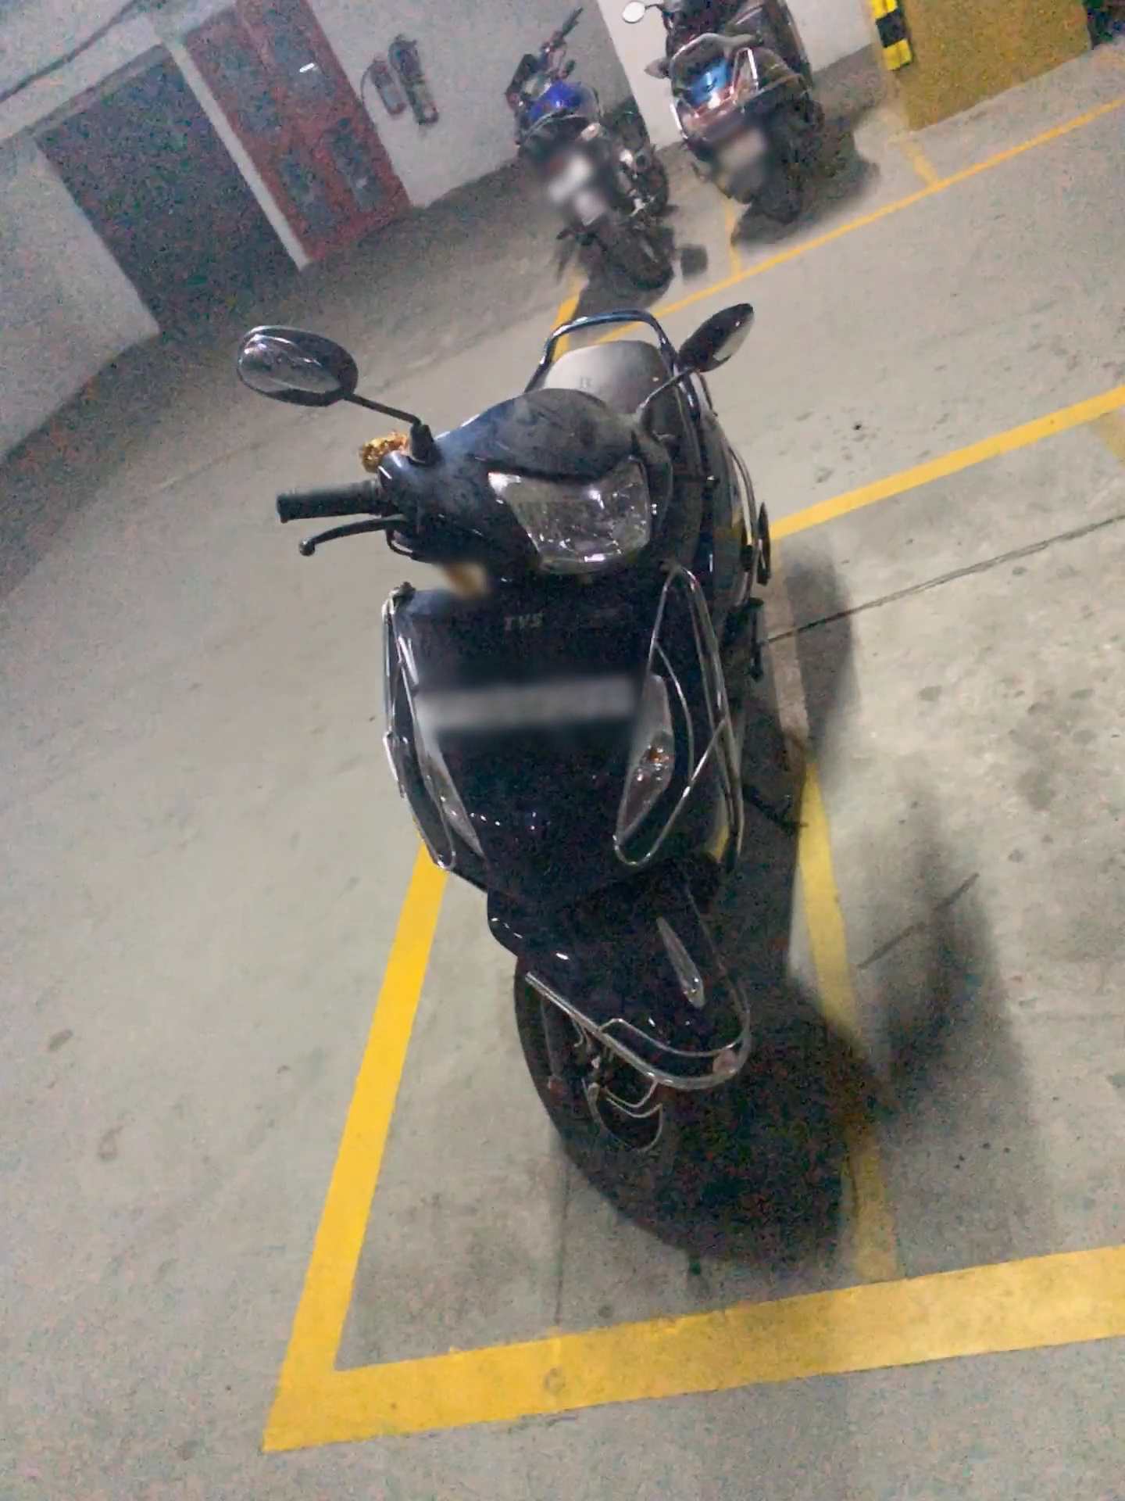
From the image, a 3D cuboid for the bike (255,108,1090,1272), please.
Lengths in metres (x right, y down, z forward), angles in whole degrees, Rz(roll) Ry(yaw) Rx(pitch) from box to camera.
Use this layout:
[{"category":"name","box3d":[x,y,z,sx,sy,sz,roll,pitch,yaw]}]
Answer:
[{"category":"bike","box3d":[0.170,-0.254,2.032,0.664,1.028,1.701,-21,37,15]}]
